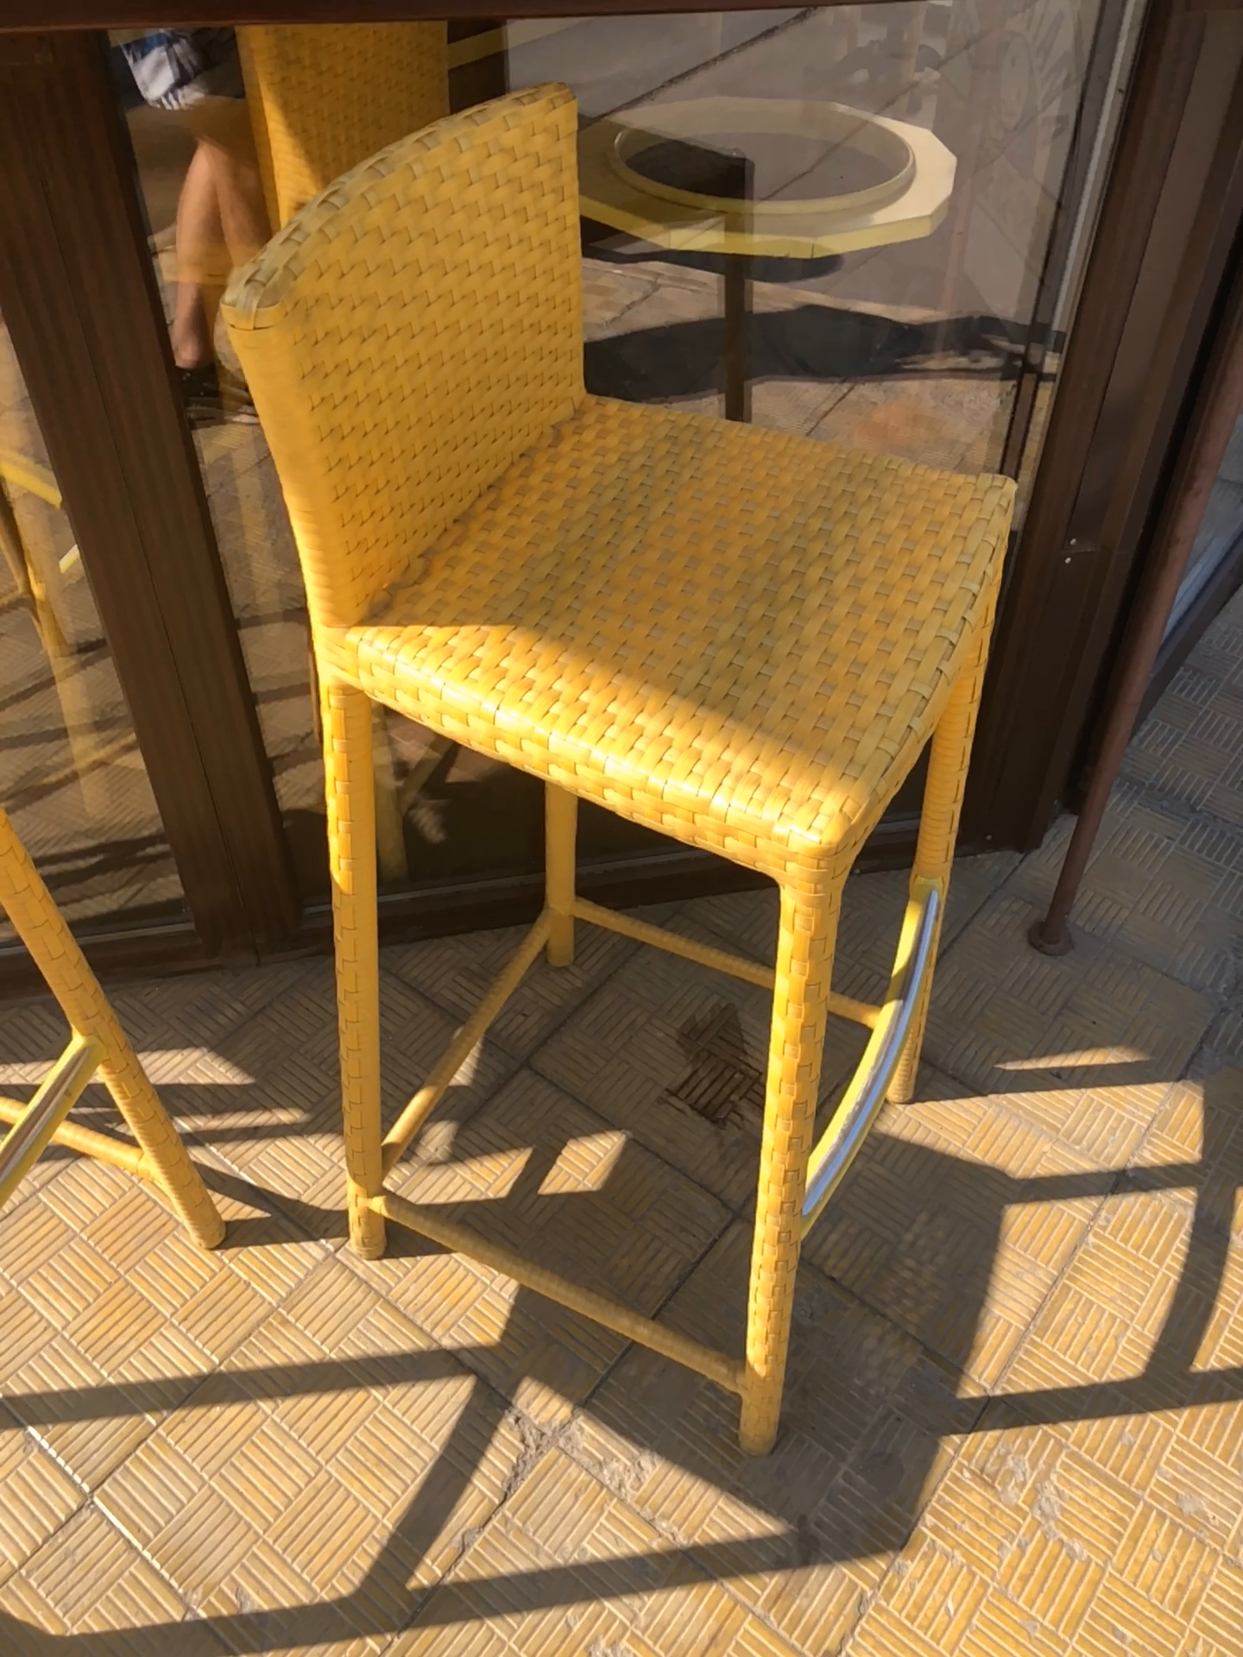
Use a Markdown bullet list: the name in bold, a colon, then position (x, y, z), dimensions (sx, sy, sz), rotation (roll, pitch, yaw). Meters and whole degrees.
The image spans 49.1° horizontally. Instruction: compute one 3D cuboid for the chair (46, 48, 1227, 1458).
- **chair**: position (0.036, -0.020, 1.091), dimensions (0.520, 0.916, 0.482), rotation (19, 46, 18)
